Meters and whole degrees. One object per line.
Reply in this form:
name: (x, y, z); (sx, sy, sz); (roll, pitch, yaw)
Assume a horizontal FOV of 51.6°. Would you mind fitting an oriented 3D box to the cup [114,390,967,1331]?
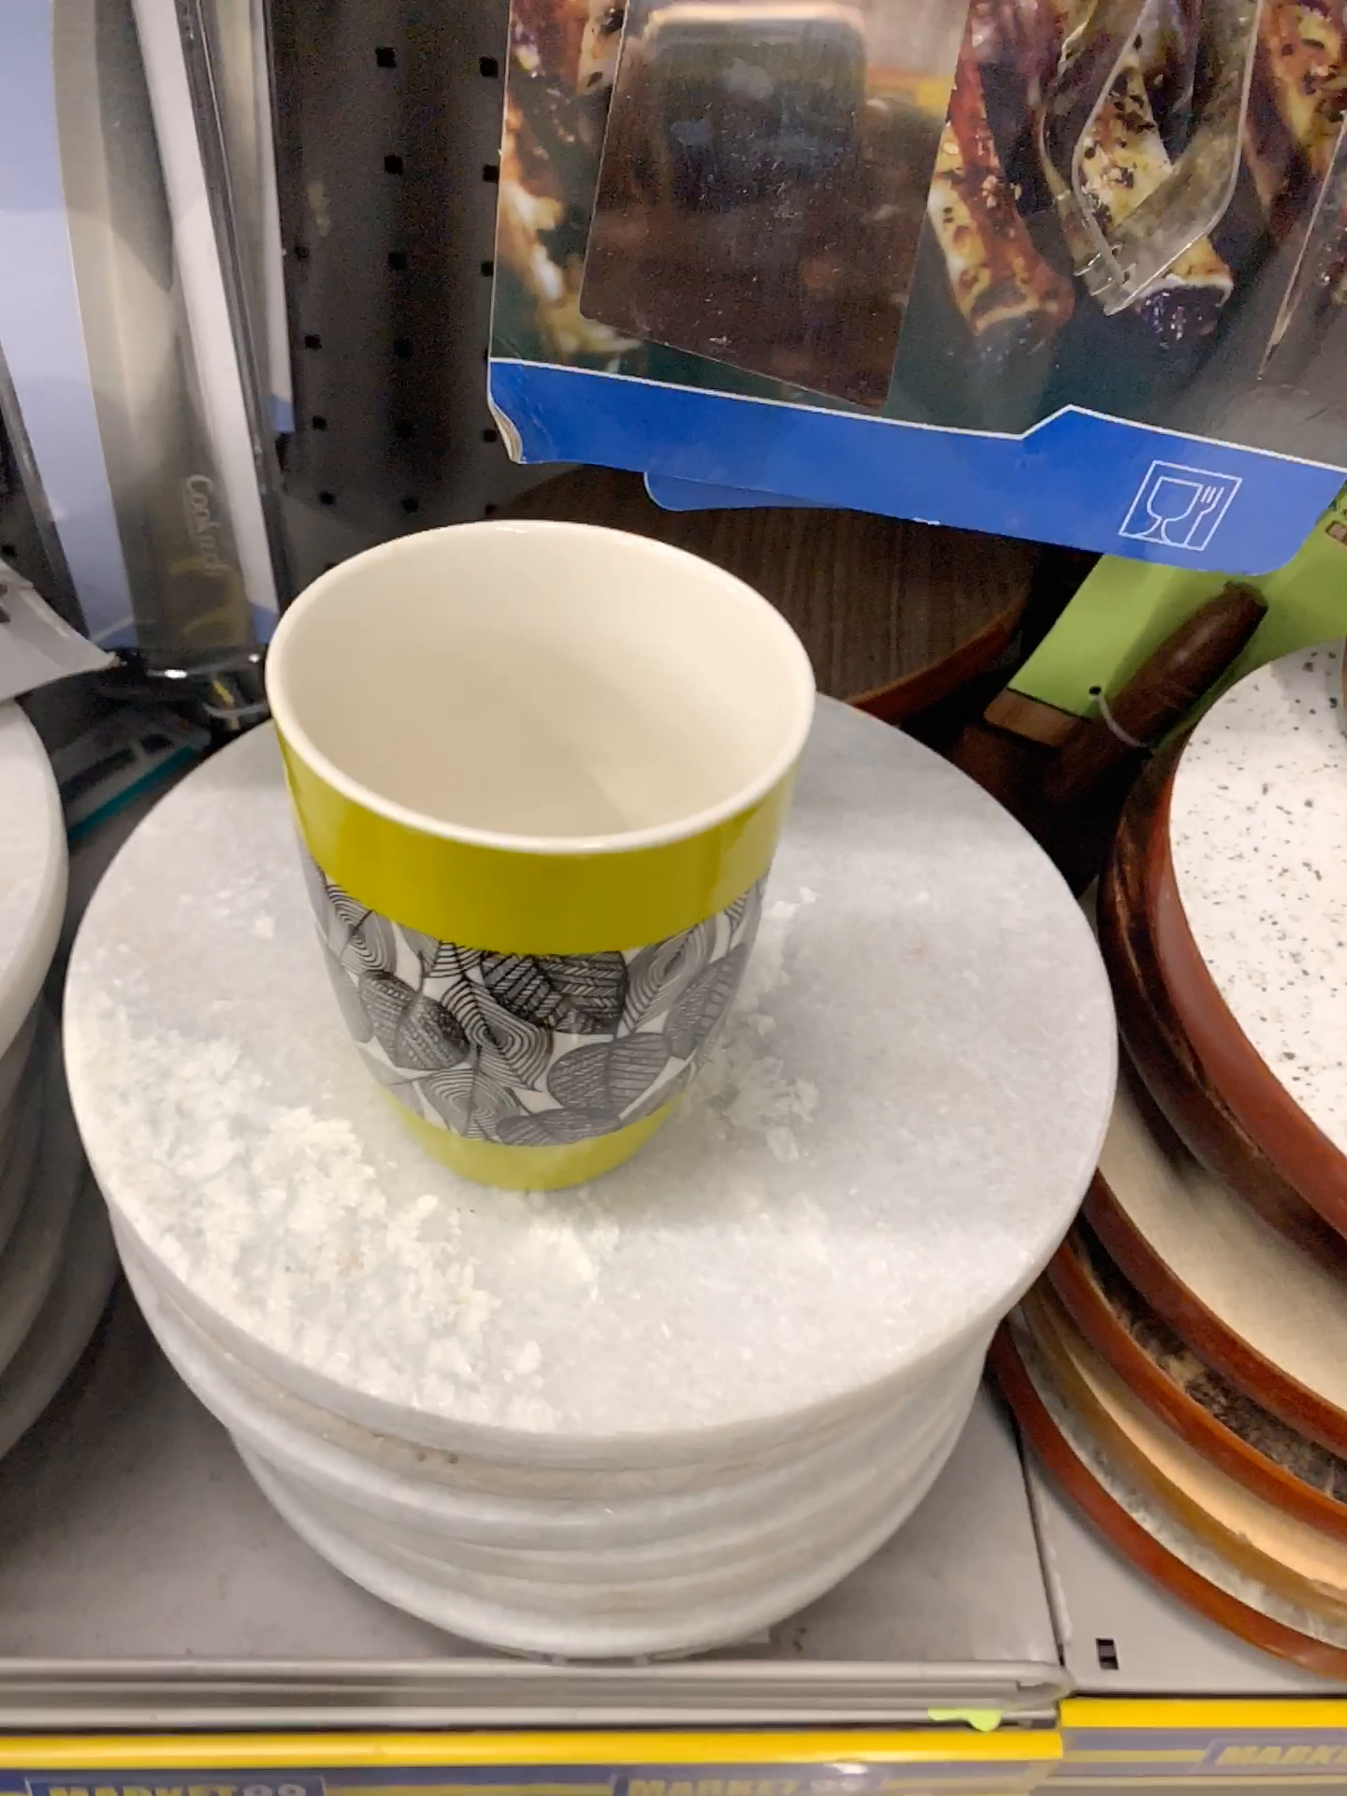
cup: (-0.027, -0.011, 0.236); (0.080, 0.090, 0.110); (-23, 53, -26)
